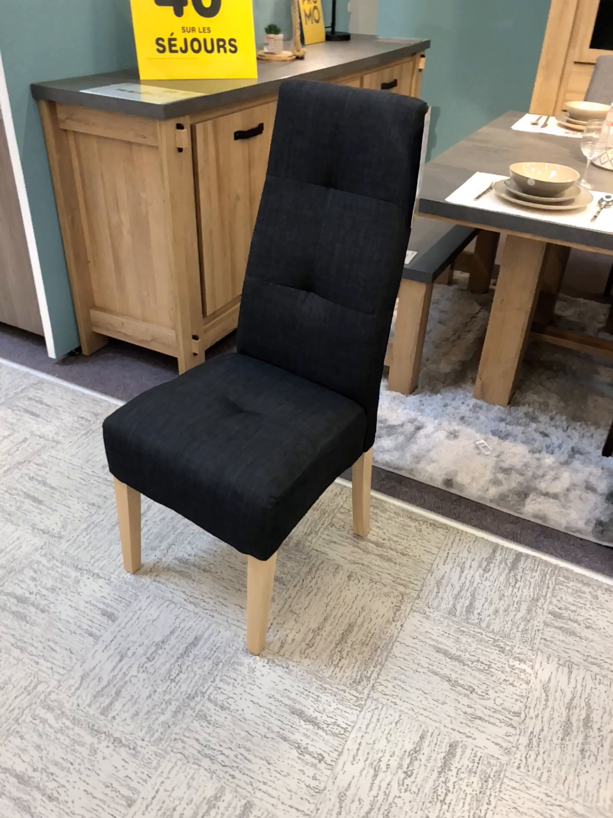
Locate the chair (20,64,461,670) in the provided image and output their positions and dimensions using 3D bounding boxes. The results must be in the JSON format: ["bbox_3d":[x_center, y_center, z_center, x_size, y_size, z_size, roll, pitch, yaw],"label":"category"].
[{"bbox_3d":[-0.098,-0.102,1.435,0.480,1.044,0.604,22,39,26],"label":"chair"}]
